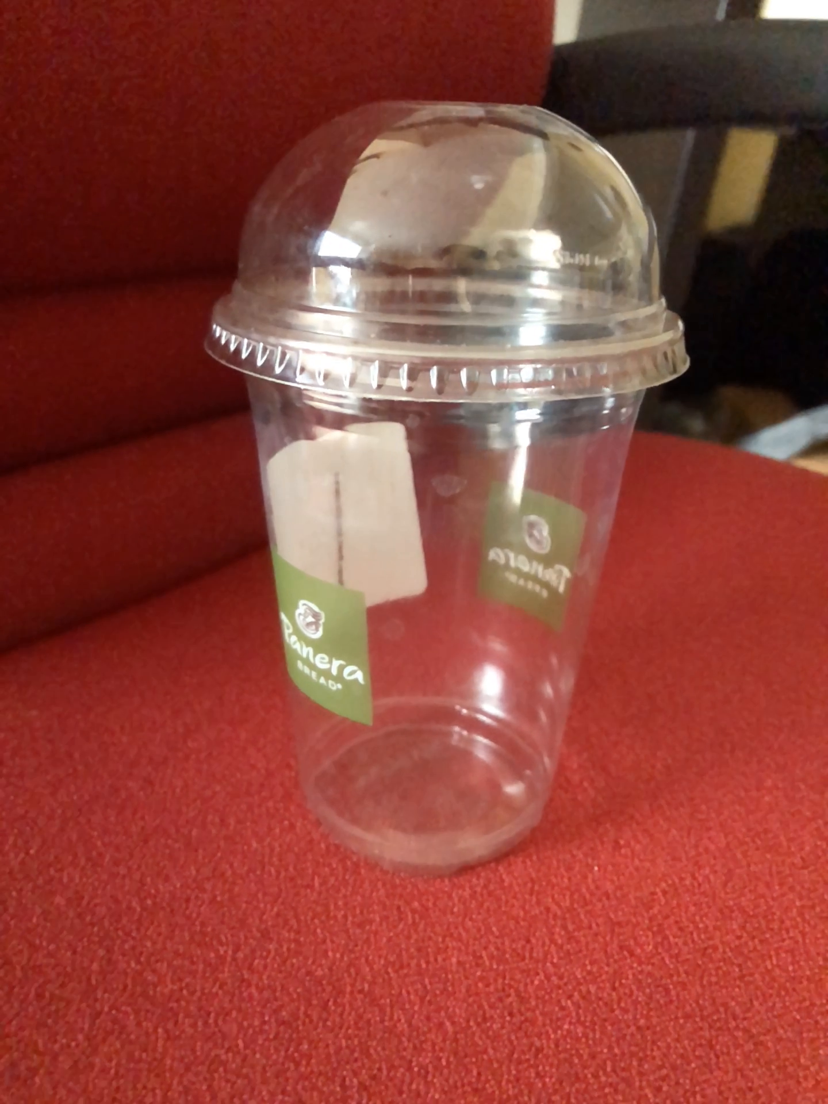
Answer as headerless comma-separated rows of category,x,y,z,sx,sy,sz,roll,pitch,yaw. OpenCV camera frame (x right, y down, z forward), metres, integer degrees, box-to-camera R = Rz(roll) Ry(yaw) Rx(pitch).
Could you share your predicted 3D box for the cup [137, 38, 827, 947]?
cup,0.016,-0.022,0.207,0.090,0.150,0.100,19,29,35
